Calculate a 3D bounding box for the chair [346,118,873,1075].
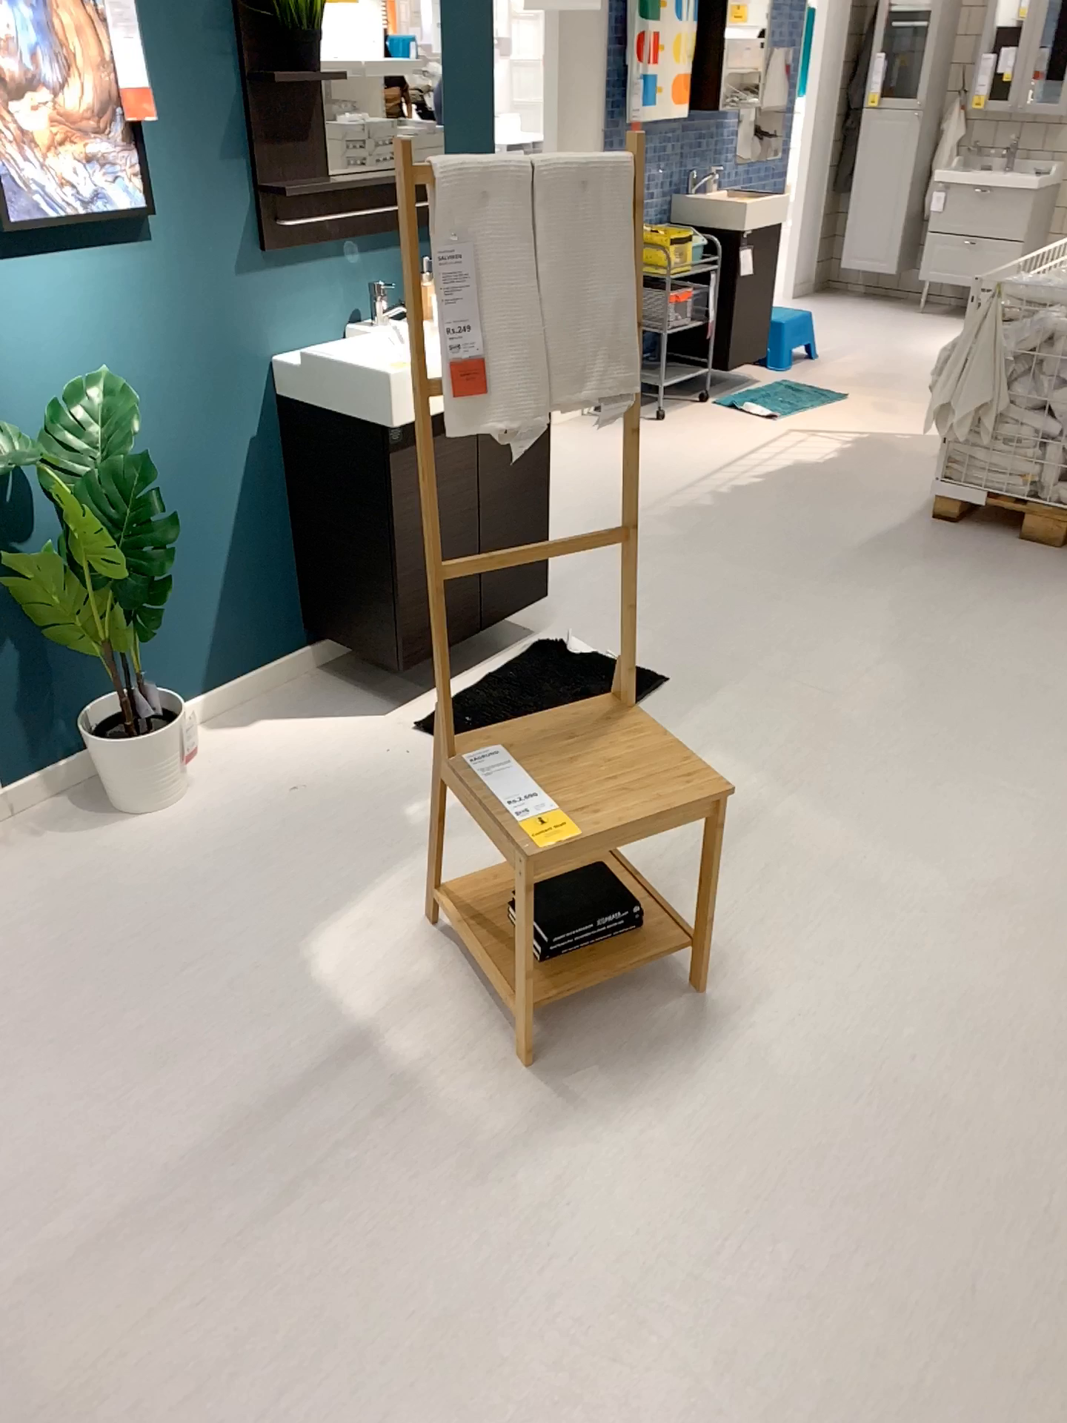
[{"bbox_3d":[0.067,-0.147,1.640,0.460,1.294,0.472,-15,34,-23],"label":"chair"}]
